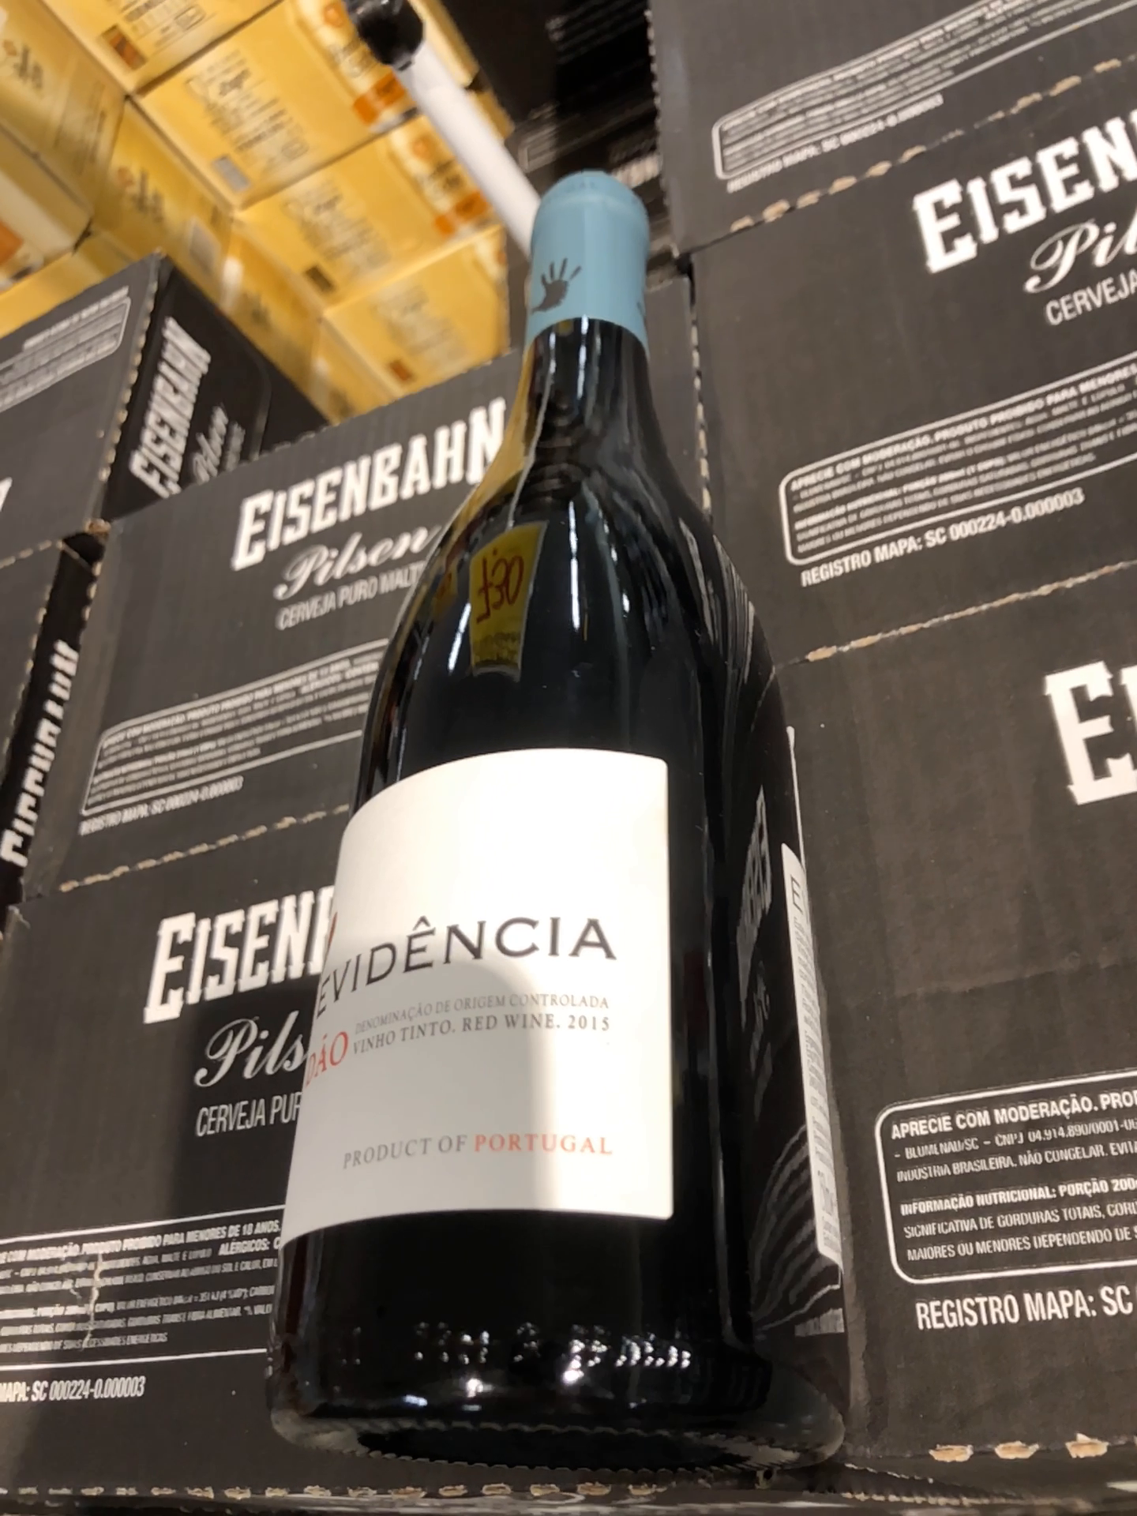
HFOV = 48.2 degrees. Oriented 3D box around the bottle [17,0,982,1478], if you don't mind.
[{"bbox_3d":[-0.005,-0.045,0.258,0.100,0.090,0.331,-16,56,25],"label":"bottle"}]
